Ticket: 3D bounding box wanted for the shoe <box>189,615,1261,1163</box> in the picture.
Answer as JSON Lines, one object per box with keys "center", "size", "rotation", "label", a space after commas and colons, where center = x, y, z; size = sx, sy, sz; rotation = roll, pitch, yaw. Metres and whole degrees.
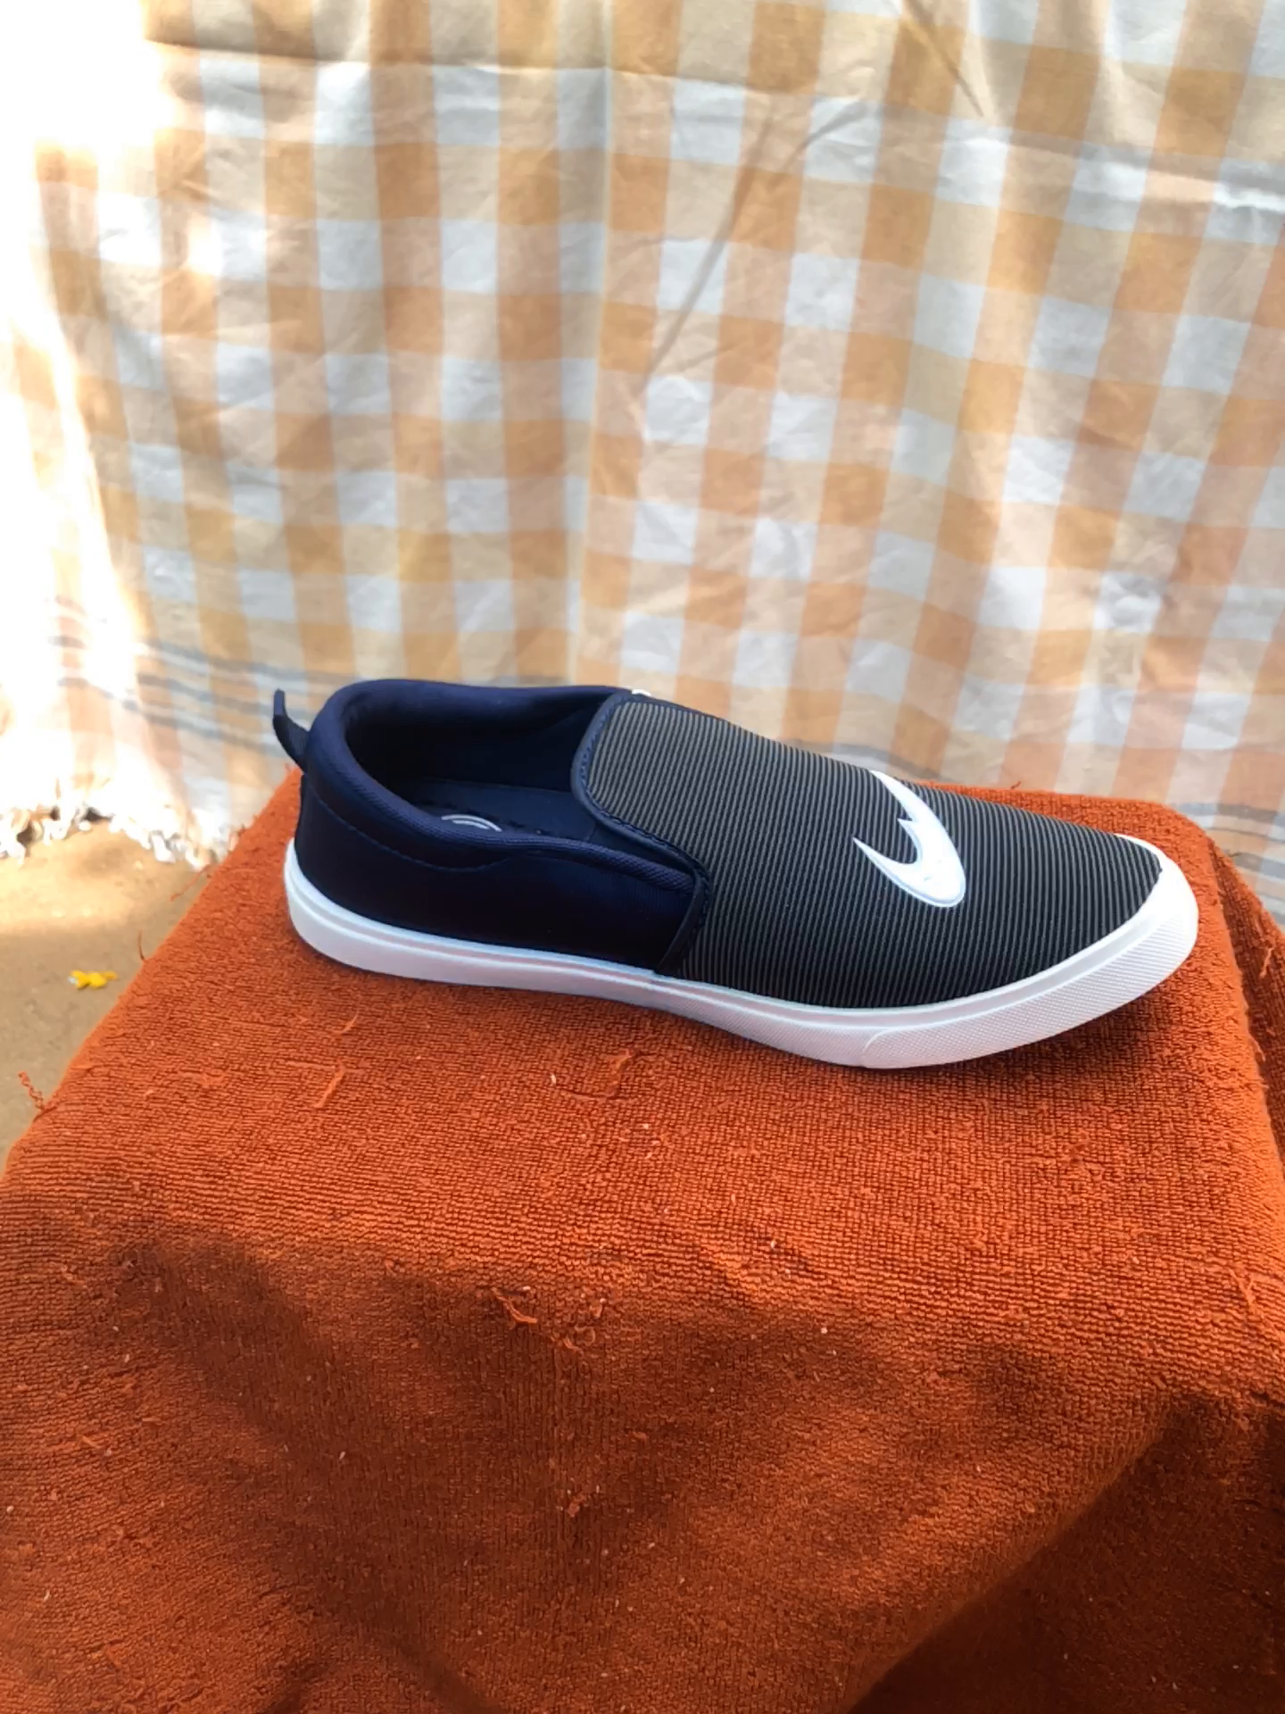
{"center": [0.023, 0.001, 0.452], "size": [0.300, 0.080, 0.101], "rotation": [10, 35, 11], "label": "shoe"}
